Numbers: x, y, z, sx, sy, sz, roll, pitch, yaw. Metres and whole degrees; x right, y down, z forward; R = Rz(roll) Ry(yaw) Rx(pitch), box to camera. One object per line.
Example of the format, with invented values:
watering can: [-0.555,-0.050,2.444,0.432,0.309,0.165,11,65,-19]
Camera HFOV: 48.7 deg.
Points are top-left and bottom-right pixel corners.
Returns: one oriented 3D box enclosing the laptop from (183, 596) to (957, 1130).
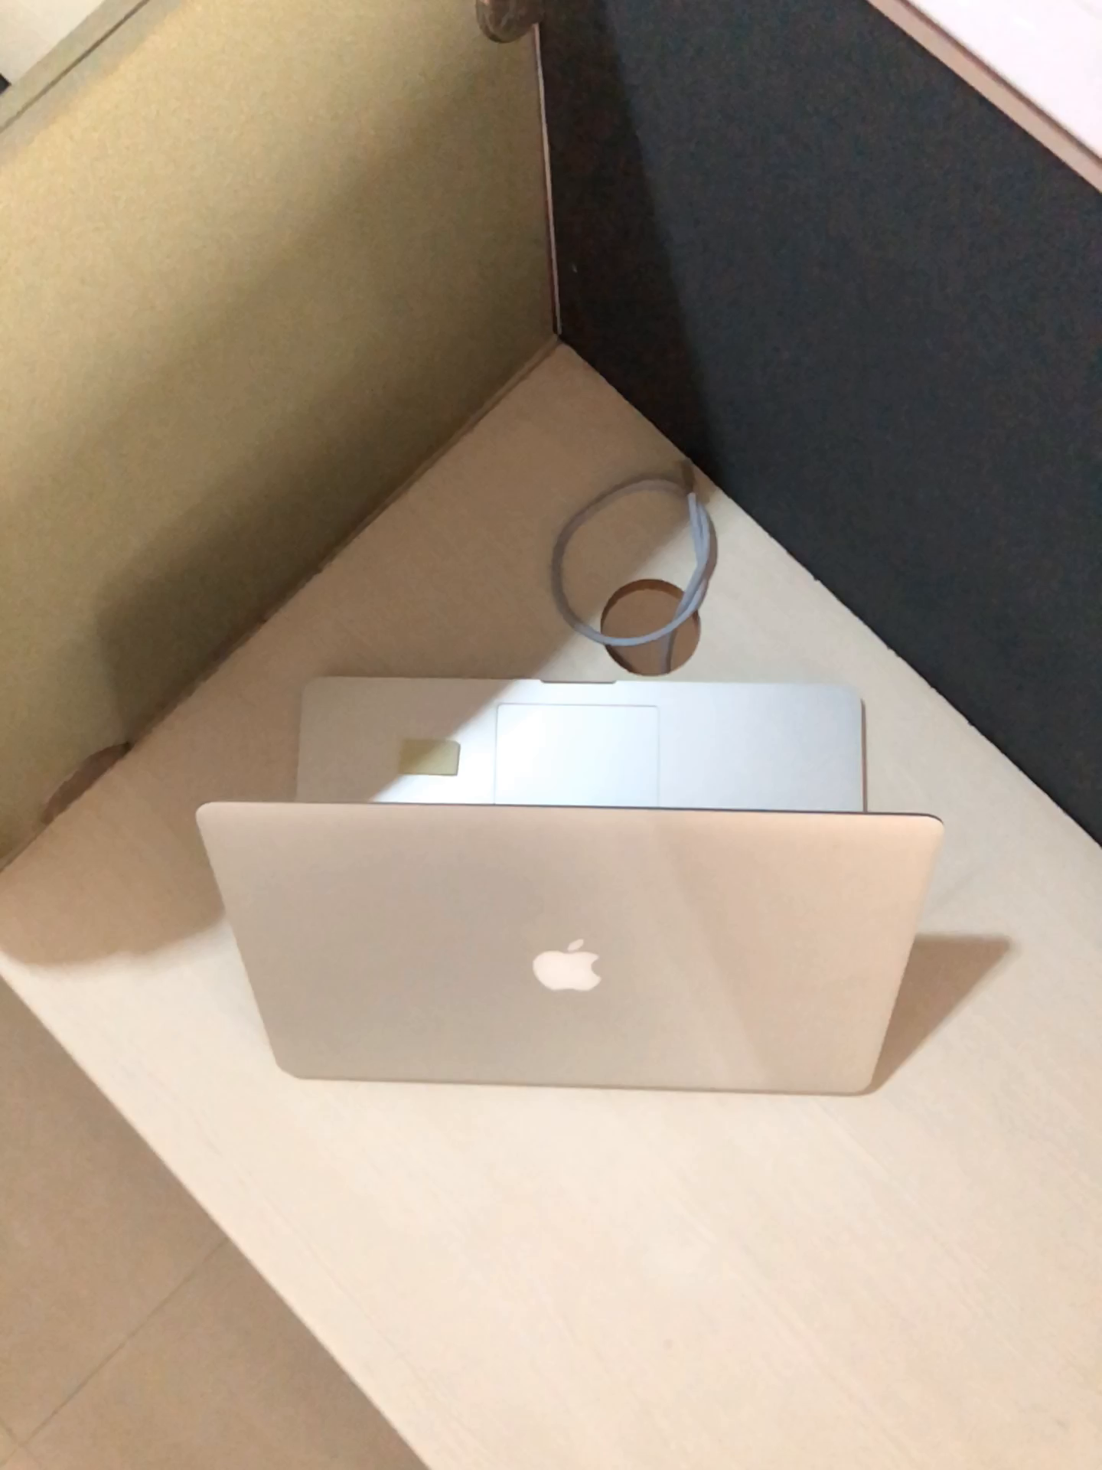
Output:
laptop: [0.014,0.069,0.655,0.343,0.199,0.234,1,81,2]
